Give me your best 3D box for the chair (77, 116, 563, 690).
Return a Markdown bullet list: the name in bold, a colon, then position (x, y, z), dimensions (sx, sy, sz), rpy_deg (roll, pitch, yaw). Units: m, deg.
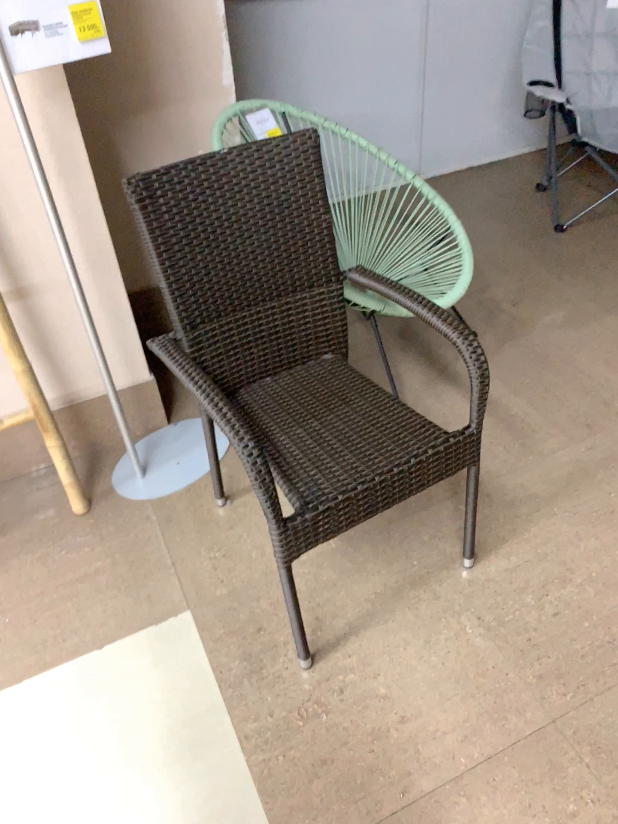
- **chair**: position (0.007, -0.038, 1.460), dimensions (0.620, 0.955, 0.683), rpy_deg (-24, 43, -21)
